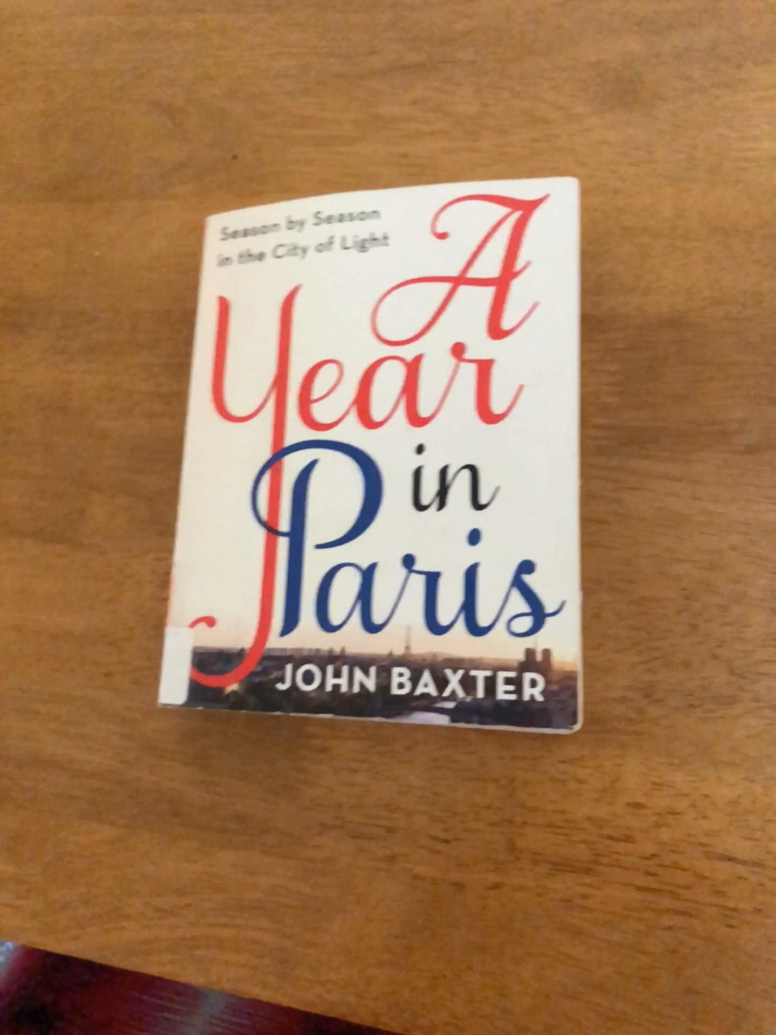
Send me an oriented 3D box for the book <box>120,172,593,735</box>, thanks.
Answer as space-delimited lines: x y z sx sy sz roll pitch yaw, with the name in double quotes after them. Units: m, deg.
-0.005 -0.022 0.304 0.150 0.040 0.181 0 77 13 "book"
